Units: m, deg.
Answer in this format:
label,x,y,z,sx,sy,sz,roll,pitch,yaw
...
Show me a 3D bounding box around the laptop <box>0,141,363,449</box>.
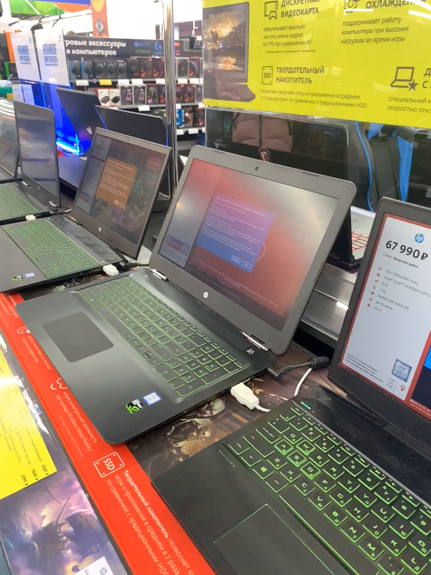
label,x,y,z,sx,sy,sz,roll,pitch,yaw
laptop,-0.074,-0.055,0.661,0.379,0.223,0.386,-19,33,-32
